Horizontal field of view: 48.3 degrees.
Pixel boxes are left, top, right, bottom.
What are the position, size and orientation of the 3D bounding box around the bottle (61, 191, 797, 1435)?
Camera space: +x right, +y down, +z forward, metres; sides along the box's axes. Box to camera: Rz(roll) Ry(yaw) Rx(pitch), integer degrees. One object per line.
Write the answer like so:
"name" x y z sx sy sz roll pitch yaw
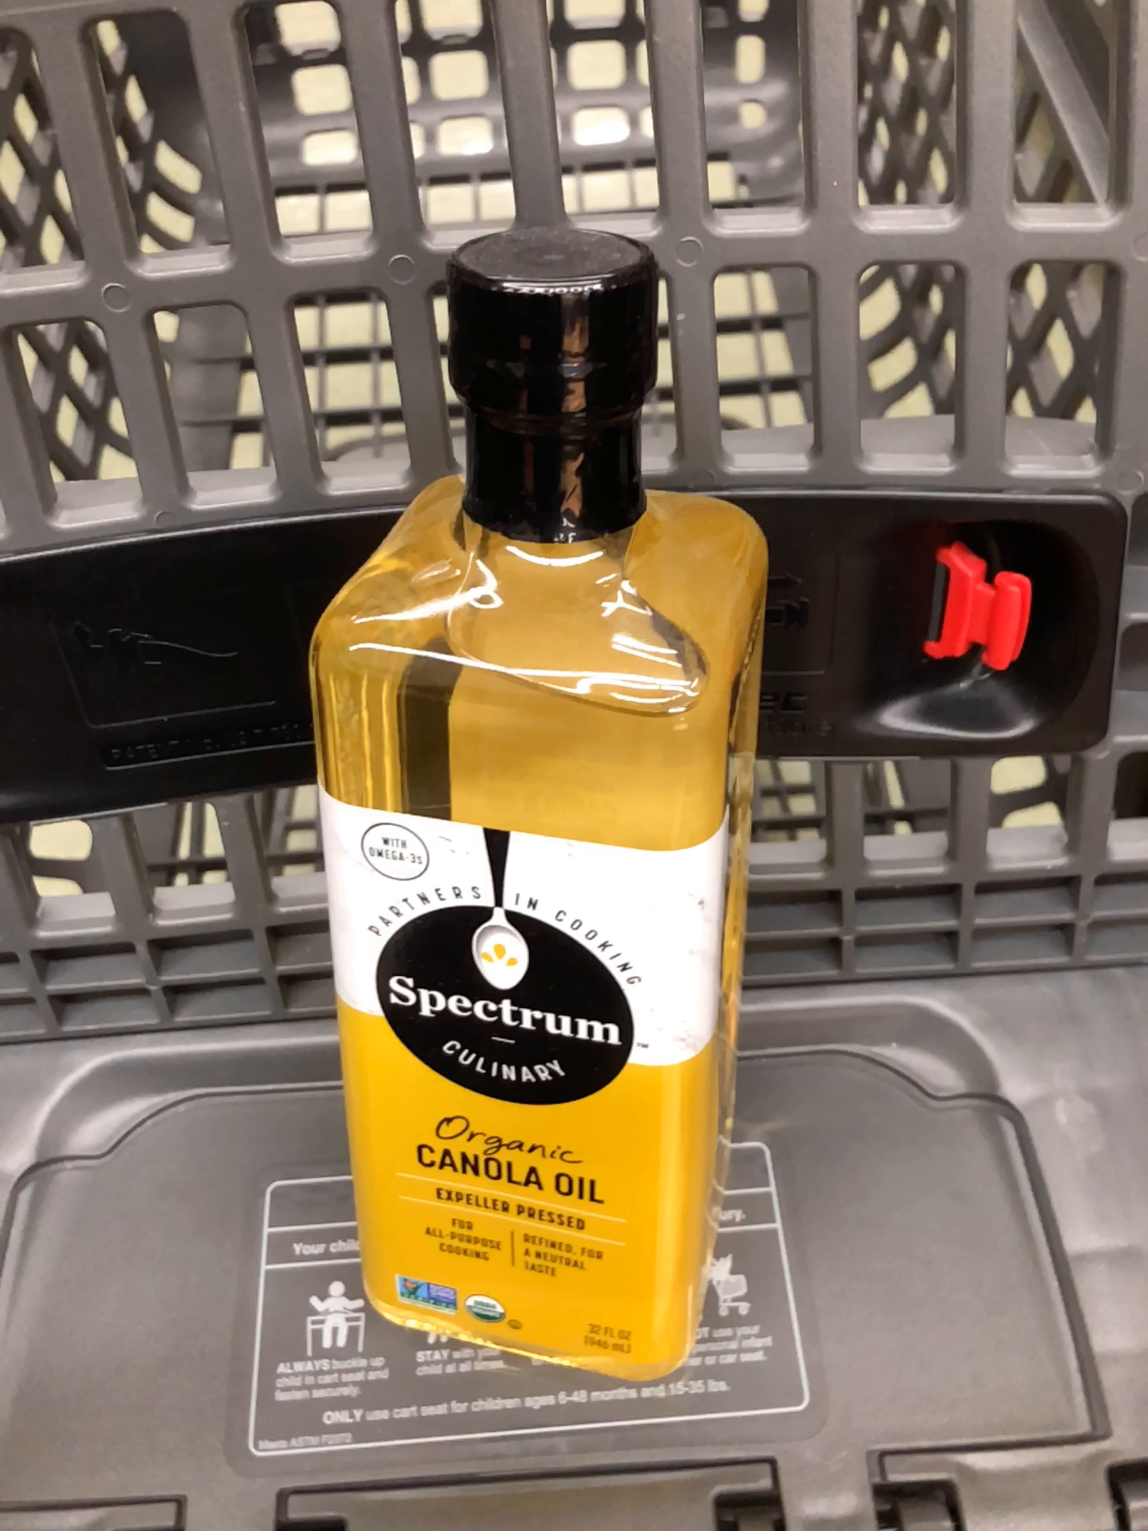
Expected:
"bottle" -0.014 0.023 0.274 0.090 0.250 0.090 -1 35 0
